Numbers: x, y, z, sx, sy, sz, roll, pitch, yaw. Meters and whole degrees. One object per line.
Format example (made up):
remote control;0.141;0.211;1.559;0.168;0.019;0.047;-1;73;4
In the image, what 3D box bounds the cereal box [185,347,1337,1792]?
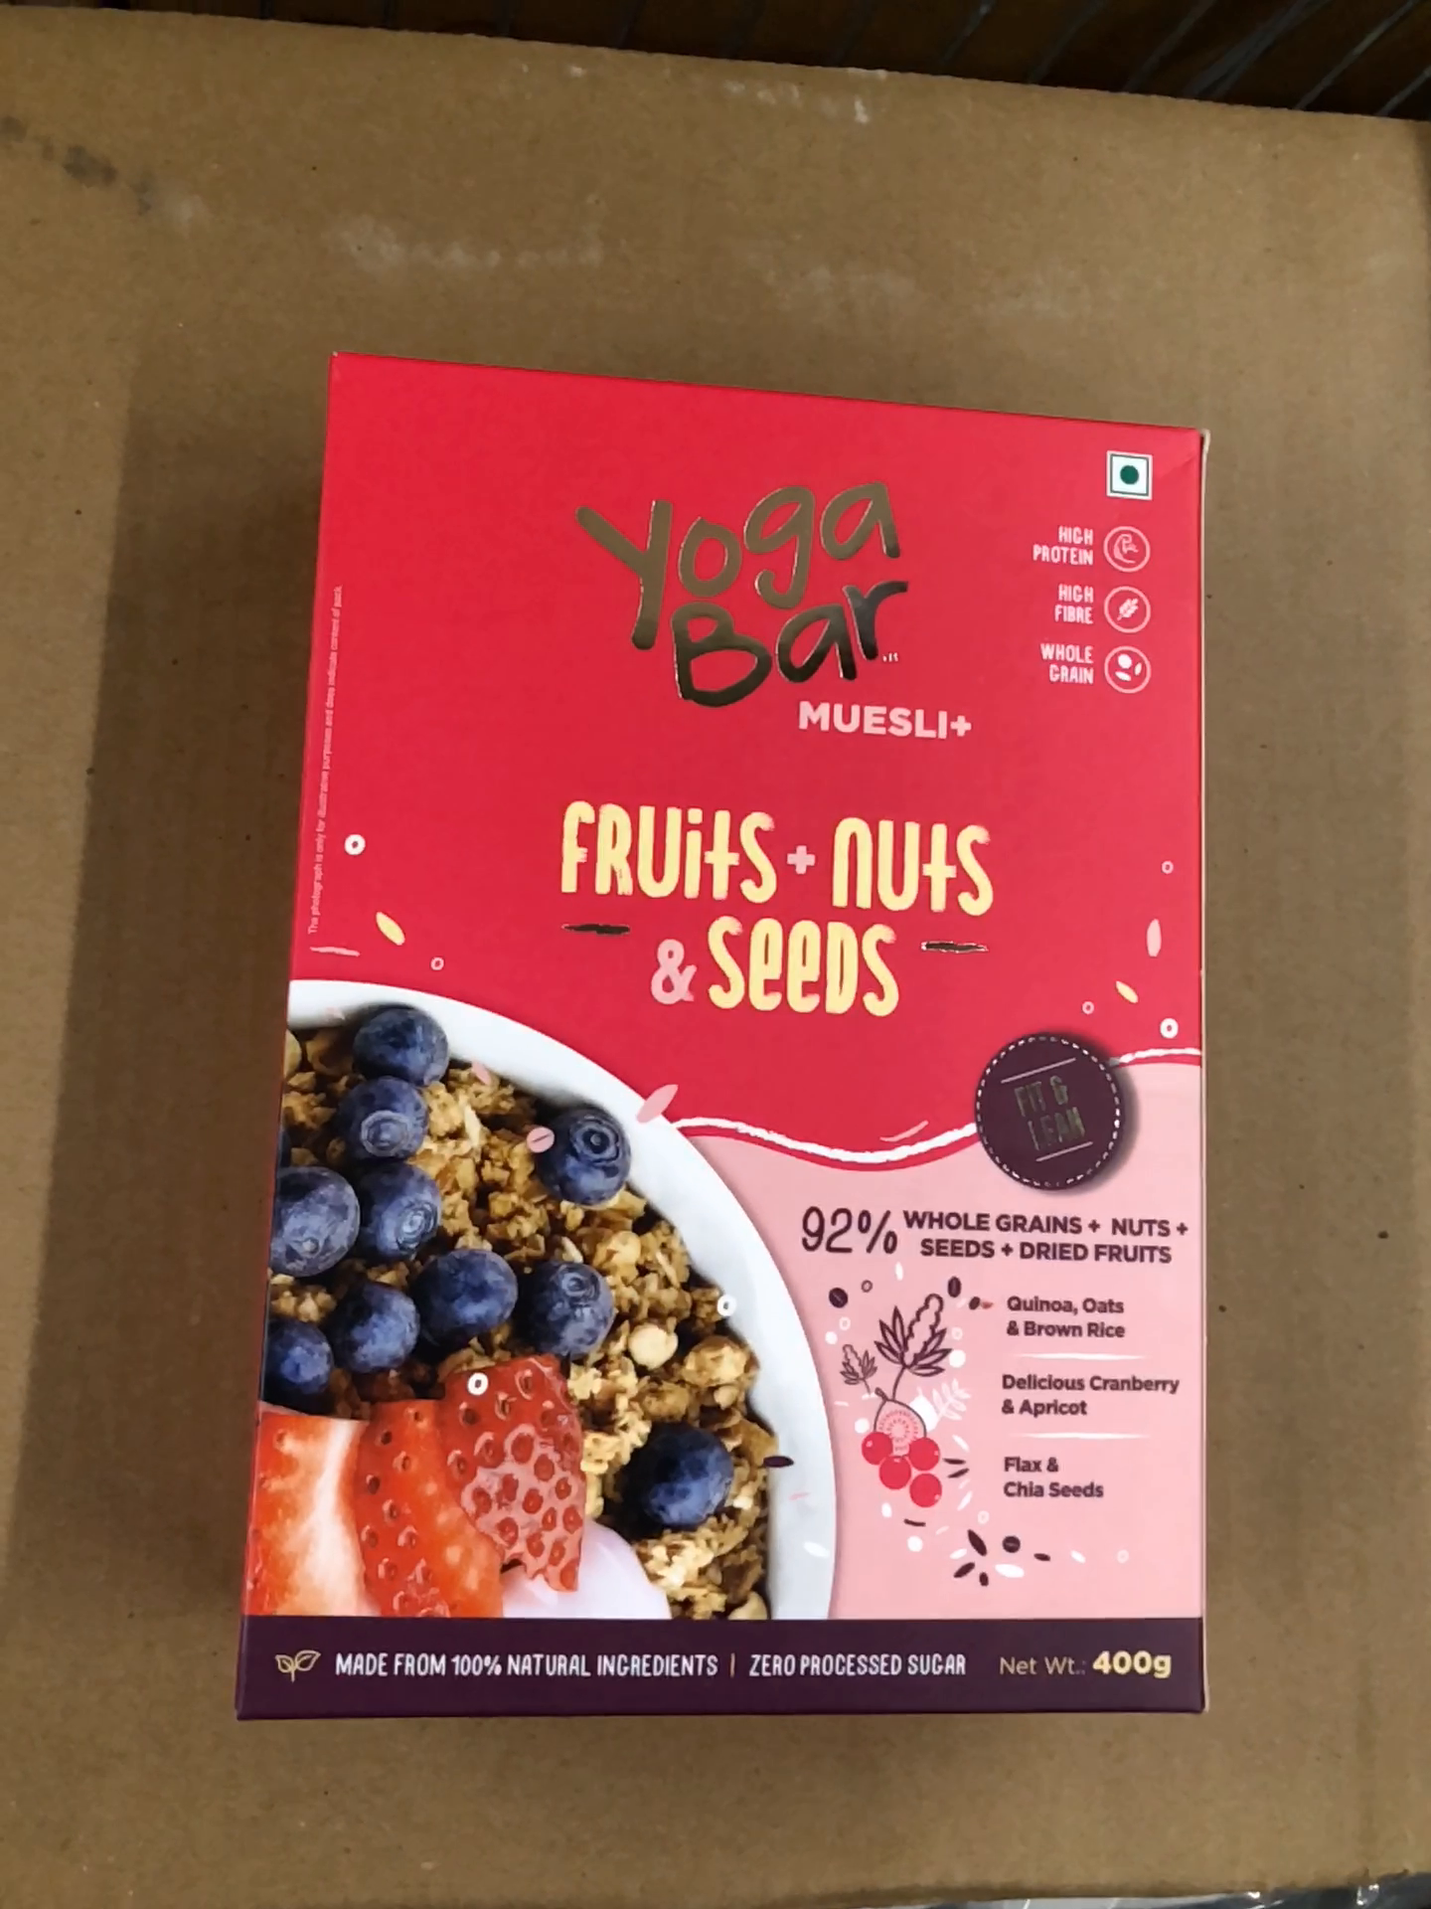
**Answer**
cereal box;0.011;0.019;0.272;0.170;0.060;0.210;3;84;-8
